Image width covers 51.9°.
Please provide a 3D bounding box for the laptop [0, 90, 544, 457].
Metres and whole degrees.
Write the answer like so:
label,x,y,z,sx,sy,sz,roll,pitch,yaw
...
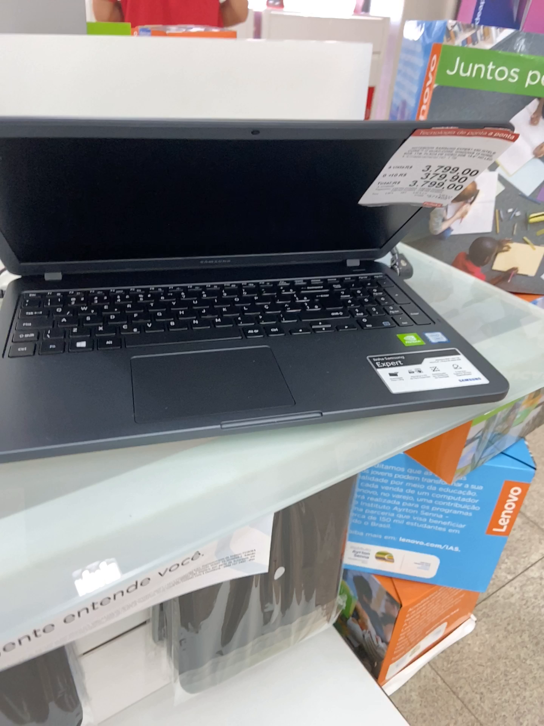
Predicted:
label,x,y,z,sx,sy,sz,roll,pitch,yaw
laptop,-0.026,-0.094,0.416,0.357,0.158,0.232,-6,34,-15
